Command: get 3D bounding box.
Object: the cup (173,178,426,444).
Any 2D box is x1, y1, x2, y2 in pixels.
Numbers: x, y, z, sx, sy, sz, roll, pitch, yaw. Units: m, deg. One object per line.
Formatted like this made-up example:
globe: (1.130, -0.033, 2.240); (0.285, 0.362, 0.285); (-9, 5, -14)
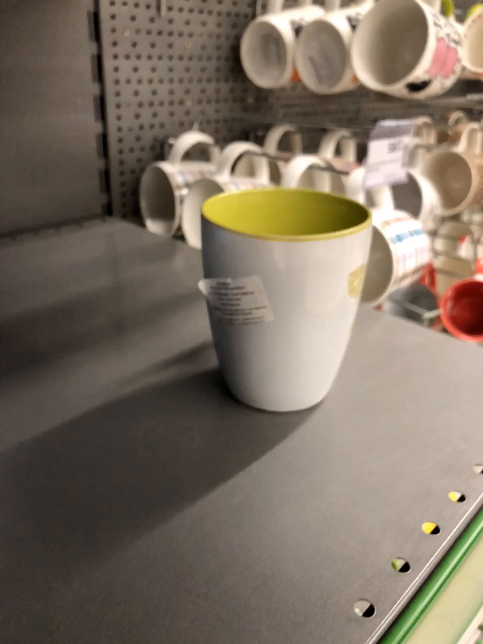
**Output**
cup: (0.018, -0.017, 0.299); (0.094, 0.095, 0.127); (-4, 27, -13)
